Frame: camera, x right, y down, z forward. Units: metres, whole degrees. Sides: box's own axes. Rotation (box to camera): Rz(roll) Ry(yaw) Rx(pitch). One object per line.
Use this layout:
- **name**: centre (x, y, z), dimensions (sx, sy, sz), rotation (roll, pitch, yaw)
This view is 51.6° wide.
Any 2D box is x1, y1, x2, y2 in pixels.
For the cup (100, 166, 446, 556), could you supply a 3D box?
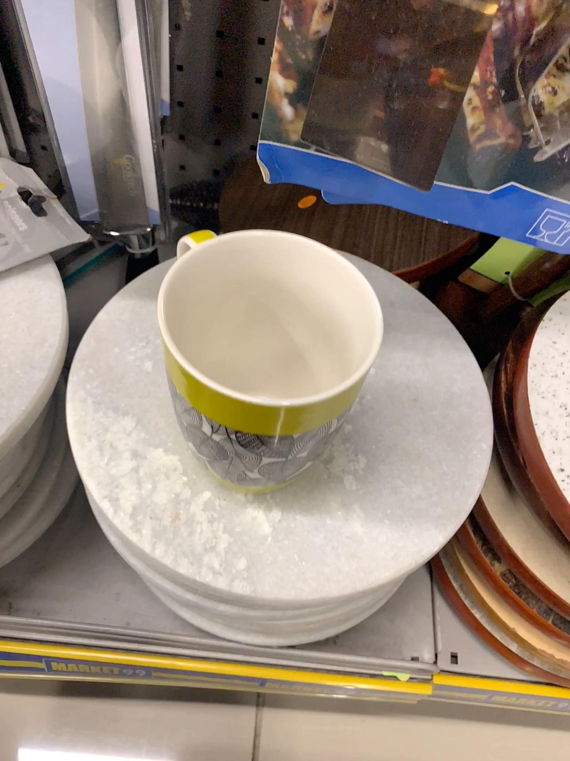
- **cup**: centre (-0.012, -0.008, 0.242), dimensions (0.080, 0.090, 0.110), rotation (-20, 62, -20)
